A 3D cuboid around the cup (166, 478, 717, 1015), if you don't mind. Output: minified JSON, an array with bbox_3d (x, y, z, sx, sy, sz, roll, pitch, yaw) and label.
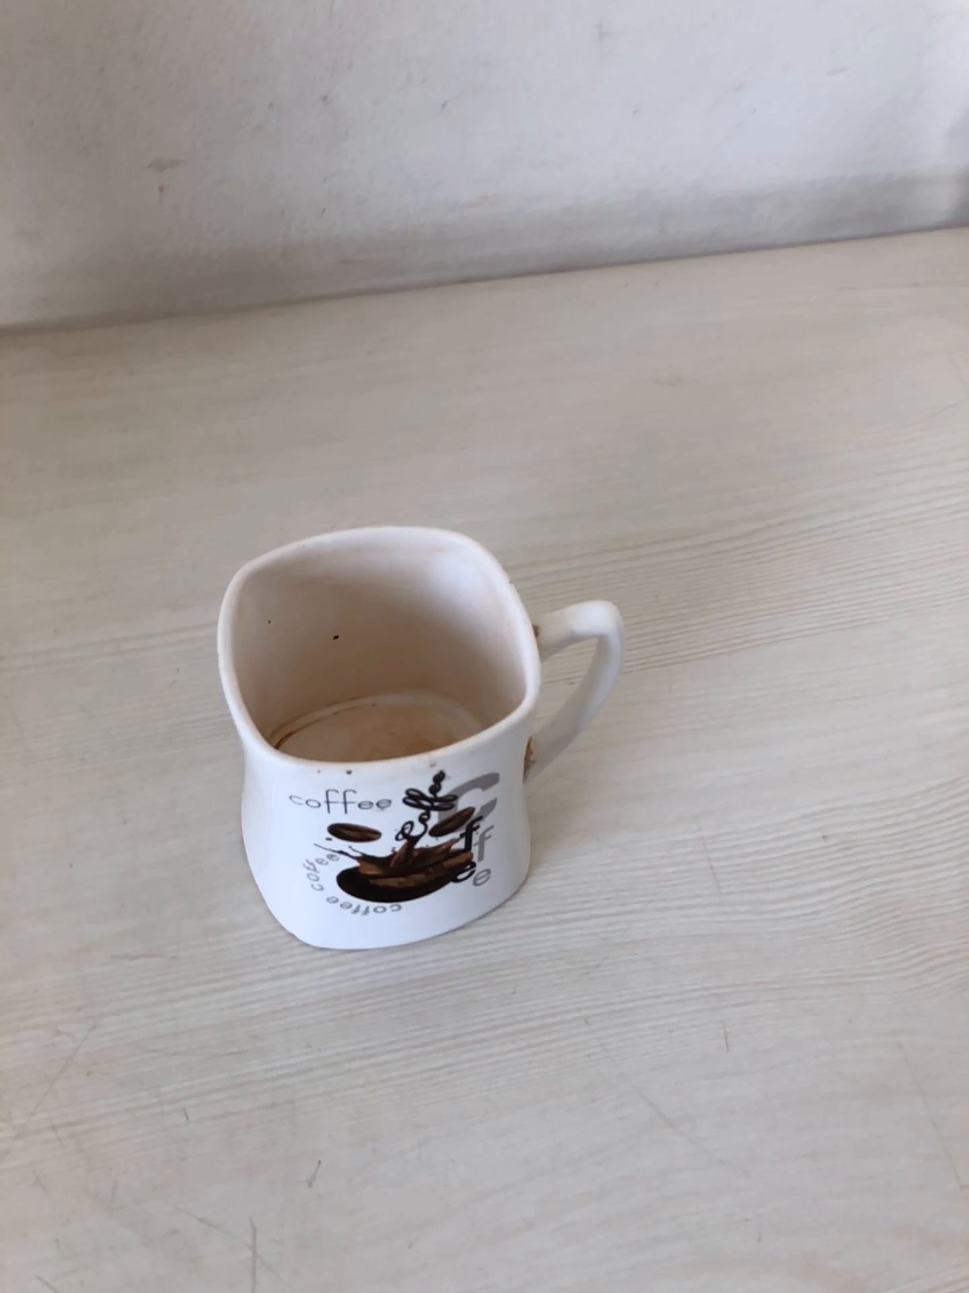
[{"bbox_3d":[-0.012,0.020,0.233,0.090,0.070,0.070,-12,51,-13],"label":"cup"}]
